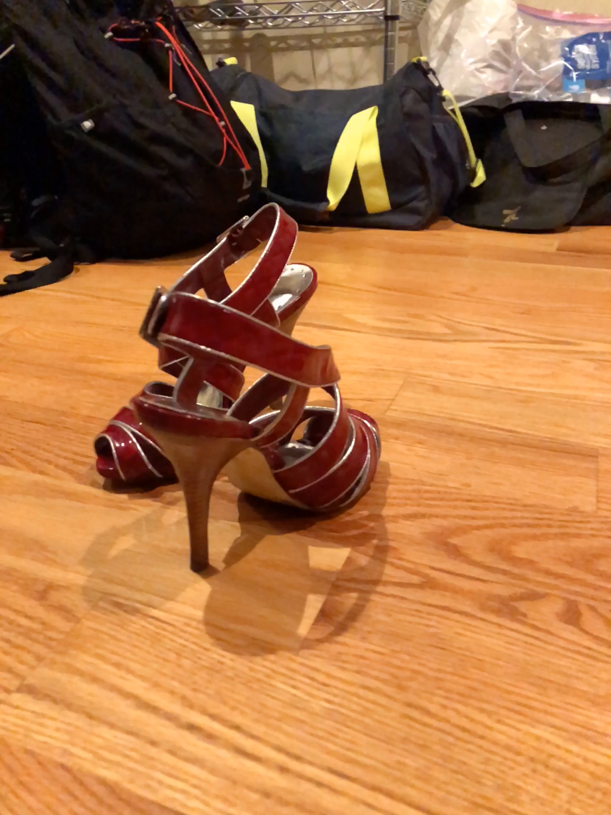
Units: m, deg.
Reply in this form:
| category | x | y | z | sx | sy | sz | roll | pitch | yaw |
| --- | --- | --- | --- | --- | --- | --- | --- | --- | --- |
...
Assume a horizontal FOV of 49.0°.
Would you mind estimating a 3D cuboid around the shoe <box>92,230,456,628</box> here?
| category | x | y | z | sx | sy | sz | roll | pitch | yaw |
| --- | --- | --- | --- | --- | --- | --- | --- | --- | --- |
| shoe | -0.002 | -0.007 | 0.380 | 0.092 | 0.141 | 0.194 | 16 | 31 | 31 |

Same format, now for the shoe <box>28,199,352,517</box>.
| category | x | y | z | sx | sy | sz | roll | pitch | yaw |
| --- | --- | --- | --- | --- | --- | --- | --- | --- | --- |
| shoe | -0.063 | -0.049 | 0.468 | 0.092 | 0.151 | 0.199 | 18 | 32 | 34 |
